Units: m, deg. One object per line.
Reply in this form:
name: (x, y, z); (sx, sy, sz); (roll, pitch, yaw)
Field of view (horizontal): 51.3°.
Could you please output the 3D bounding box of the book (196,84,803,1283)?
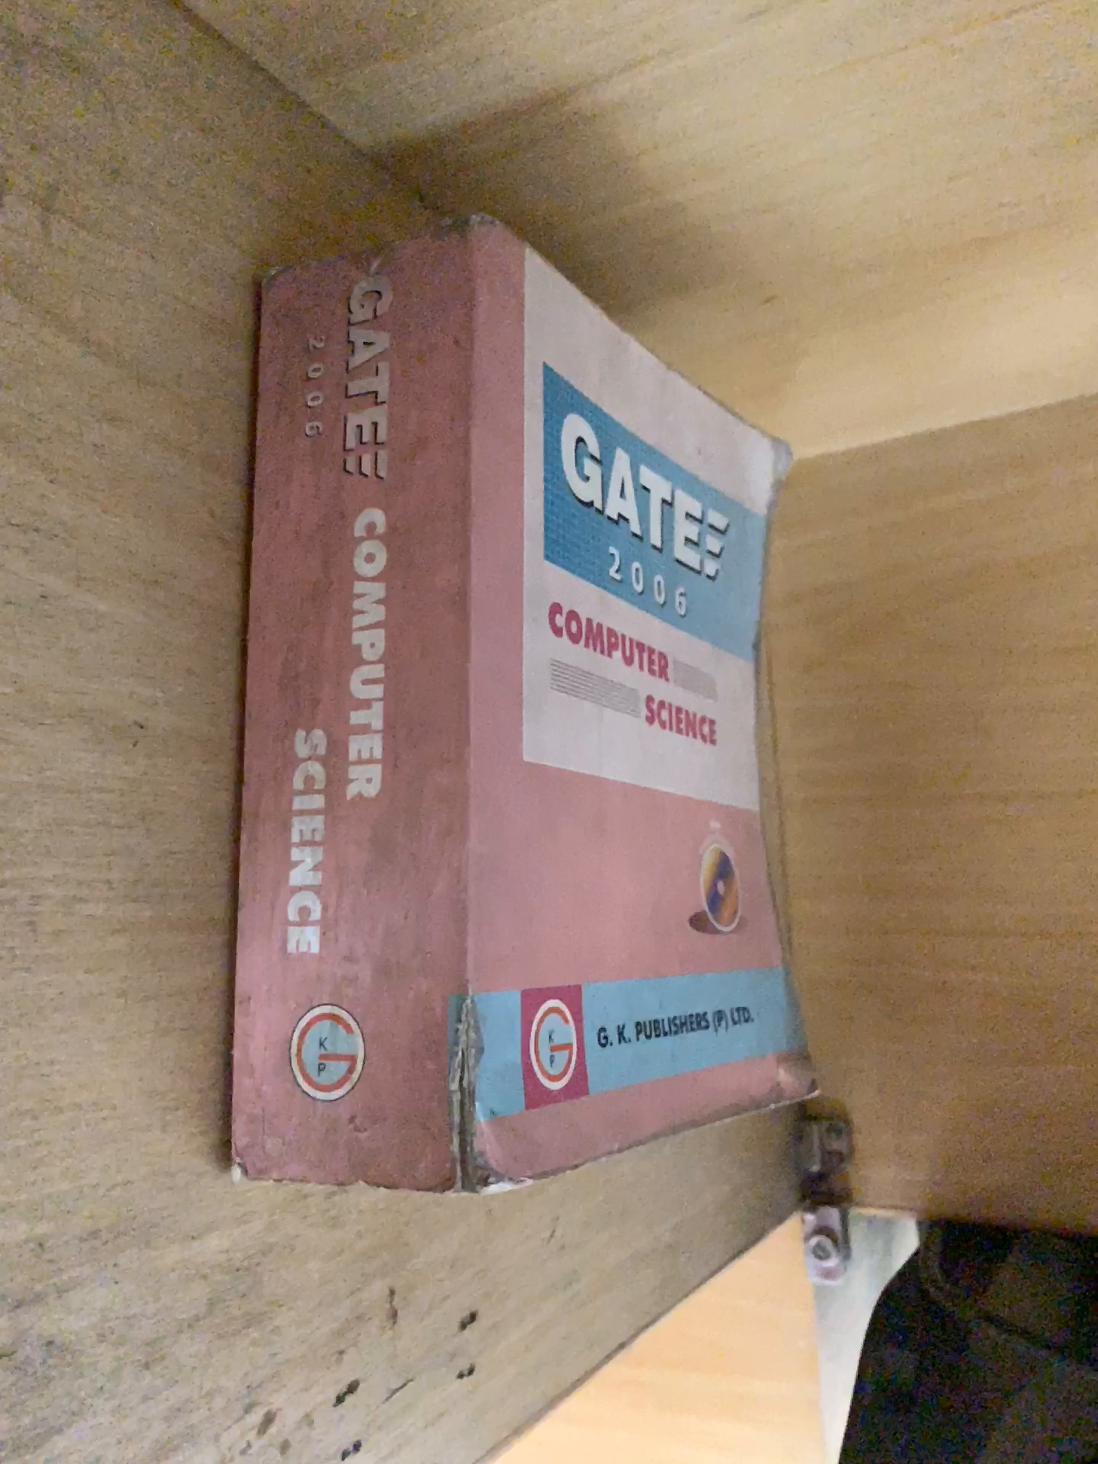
book: (0.001, -0.005, 0.351); (0.191, 0.079, 0.270); (17, 70, -57)
